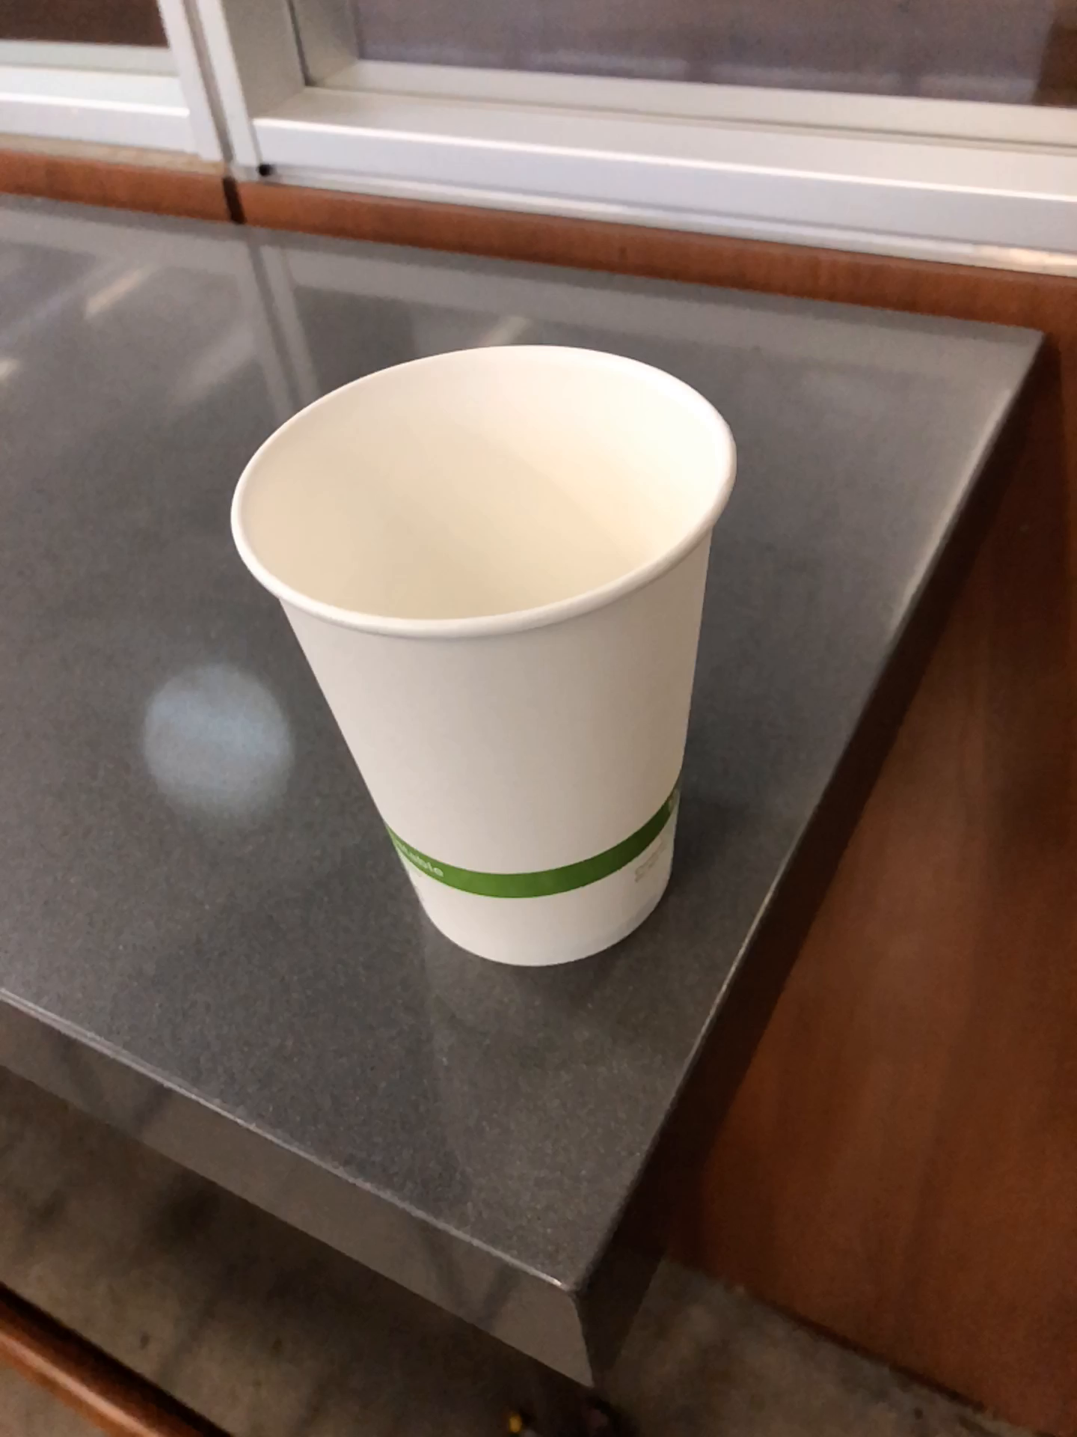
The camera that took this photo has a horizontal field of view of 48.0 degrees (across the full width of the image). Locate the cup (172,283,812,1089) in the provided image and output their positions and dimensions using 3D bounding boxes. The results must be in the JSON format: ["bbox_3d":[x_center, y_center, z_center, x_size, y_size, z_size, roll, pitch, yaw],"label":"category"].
[{"bbox_3d":[-0.008,-0.005,0.243,0.090,0.119,0.080,-15,43,-9],"label":"cup"}]
